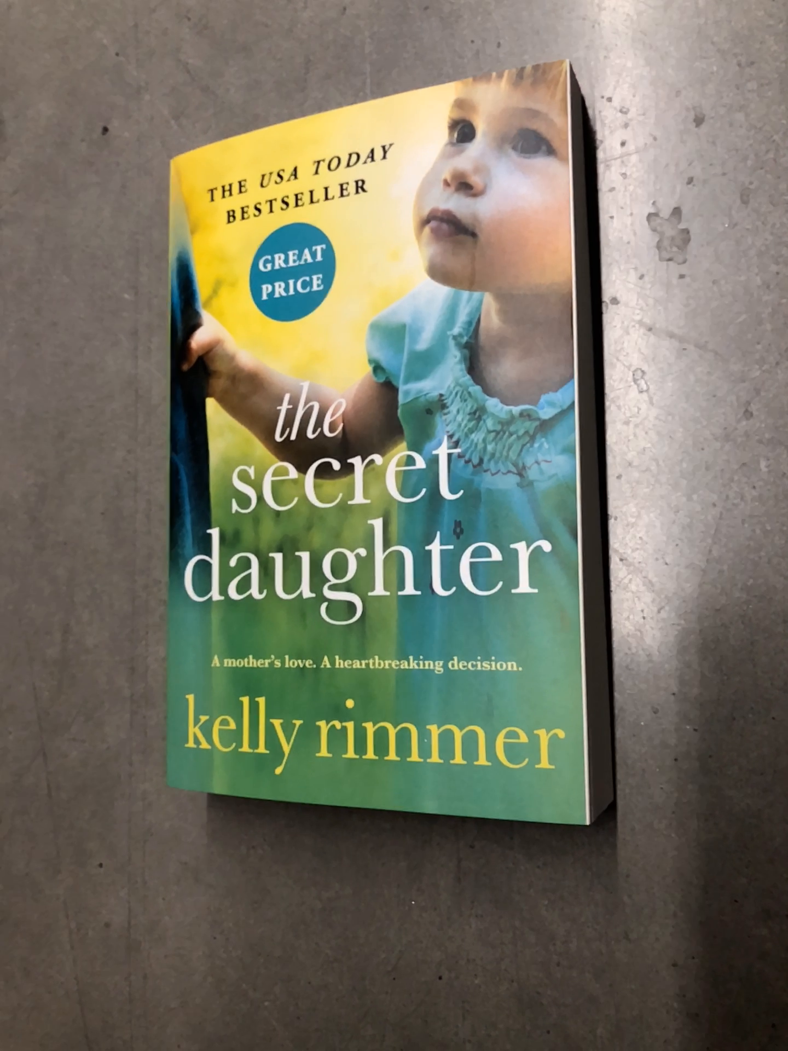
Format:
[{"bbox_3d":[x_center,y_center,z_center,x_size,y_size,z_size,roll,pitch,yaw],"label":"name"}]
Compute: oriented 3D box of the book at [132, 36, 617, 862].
[{"bbox_3d":[-0.011,-0.019,0.262,0.140,0.030,0.210,-3,85,23],"label":"book"}]
